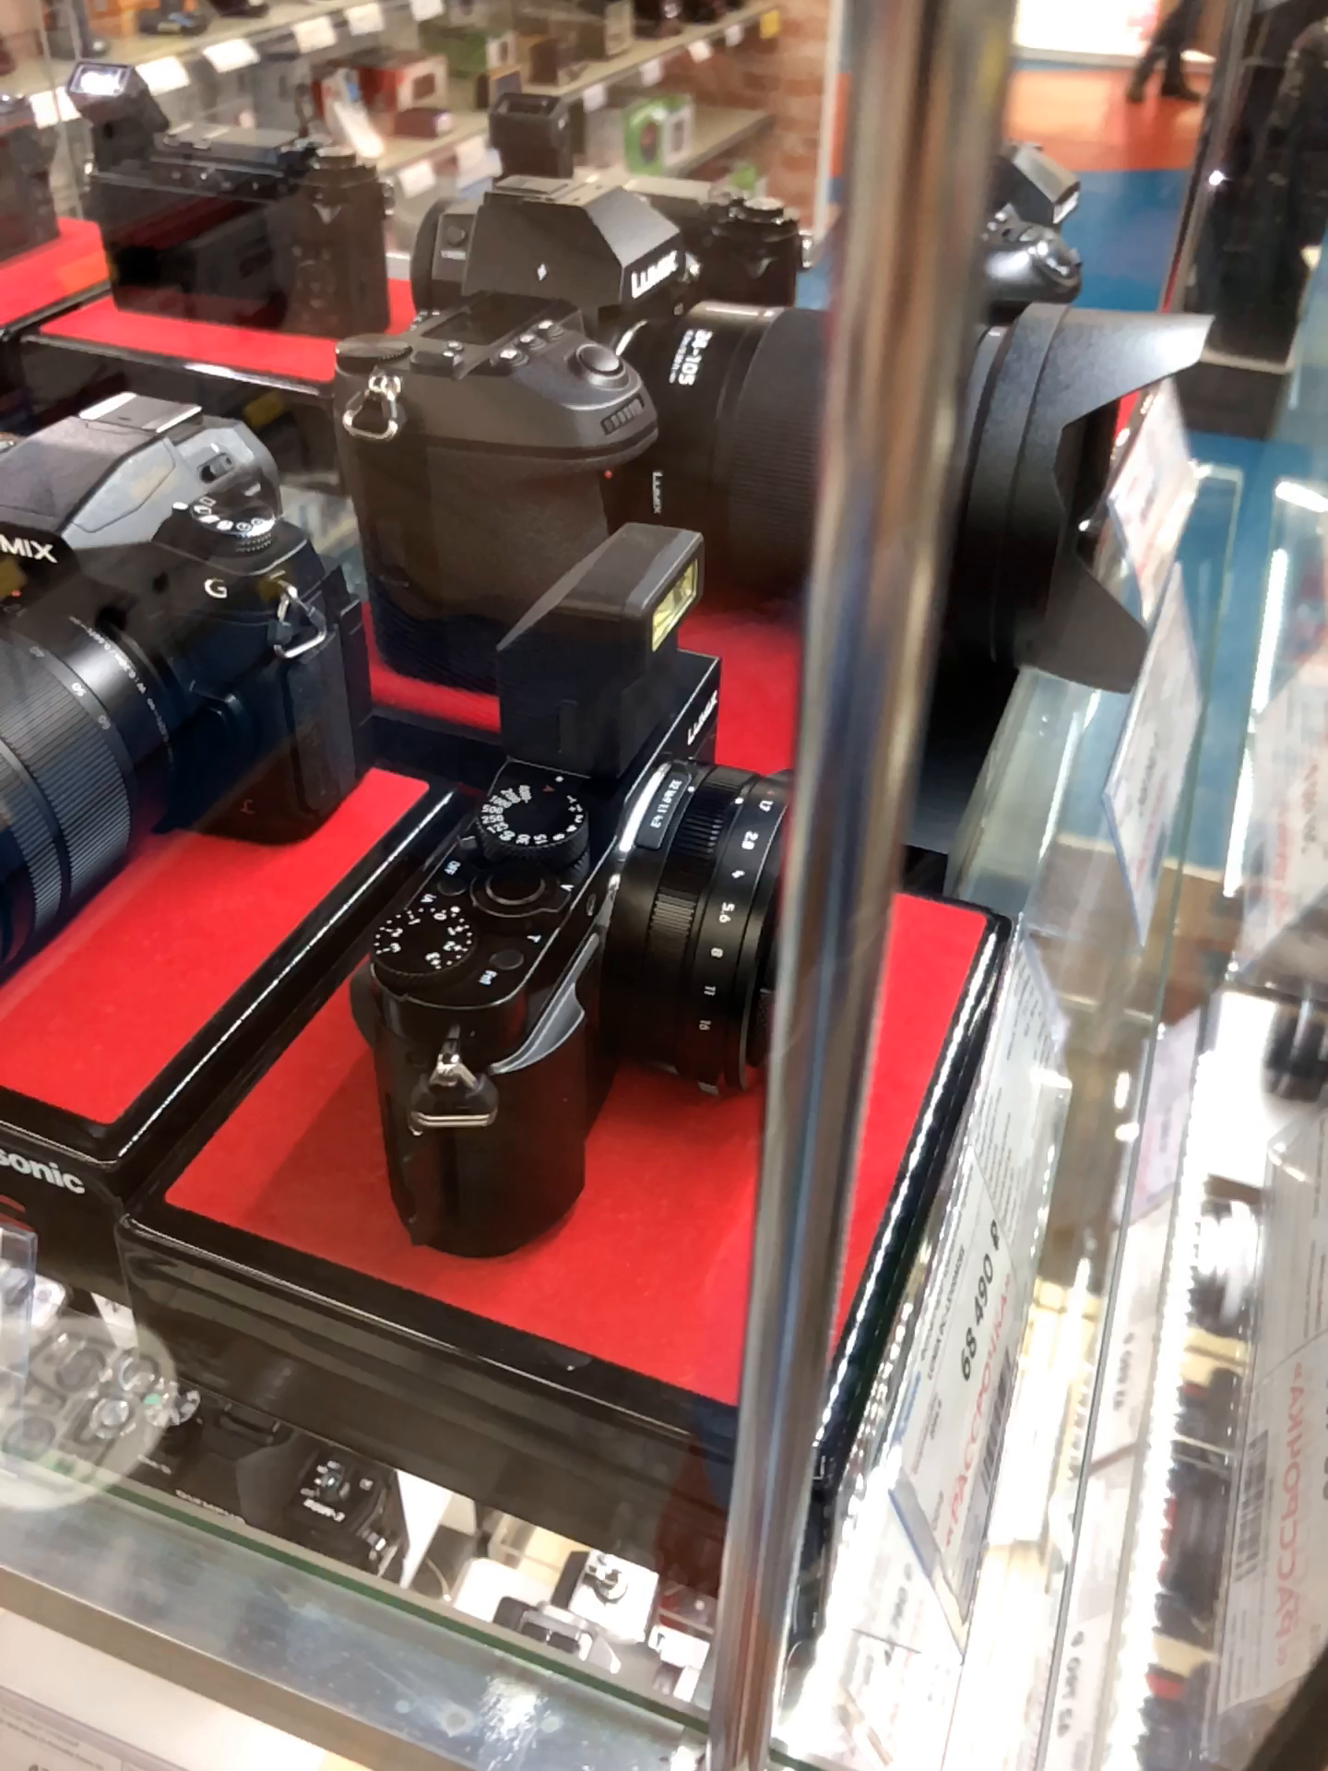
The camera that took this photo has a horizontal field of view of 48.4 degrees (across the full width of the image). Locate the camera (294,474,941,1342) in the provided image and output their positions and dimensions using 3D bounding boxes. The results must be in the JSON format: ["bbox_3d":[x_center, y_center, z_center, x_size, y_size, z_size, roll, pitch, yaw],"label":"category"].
[{"bbox_3d":[-0.001,-0.002,0.273,0.069,0.098,0.117,13,40,15],"label":"camera"}]

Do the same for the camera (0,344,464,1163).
[{"bbox_3d":[-0.122,-0.039,0.298,0.098,0.081,0.150,15,40,17],"label":"camera"}]

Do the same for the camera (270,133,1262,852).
[{"bbox_3d":[0.039,-0.129,0.431,0.226,0.114,0.176,13,40,15],"label":"camera"}]
